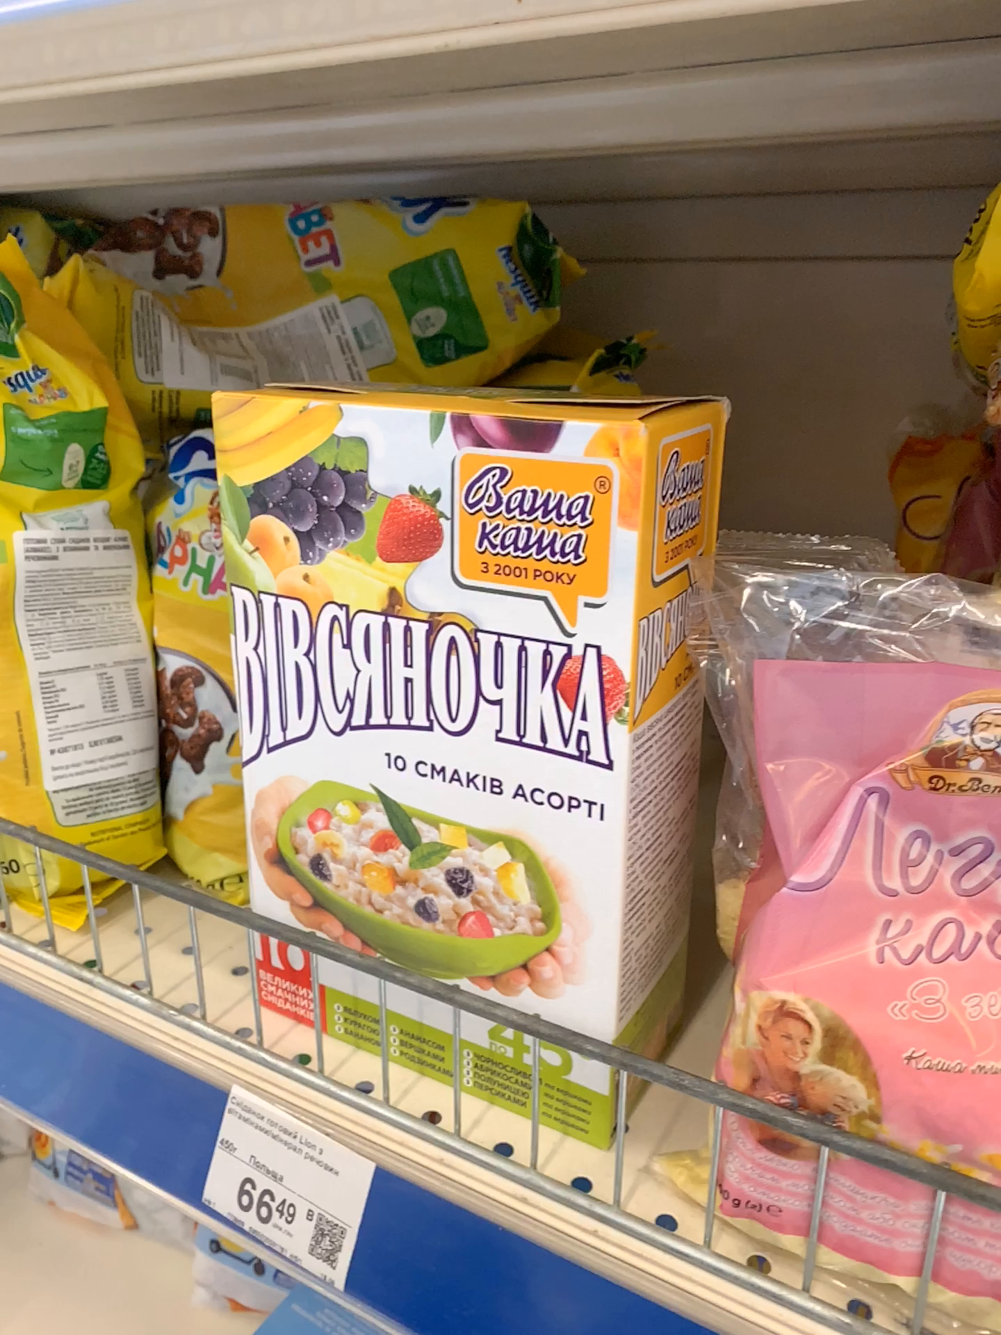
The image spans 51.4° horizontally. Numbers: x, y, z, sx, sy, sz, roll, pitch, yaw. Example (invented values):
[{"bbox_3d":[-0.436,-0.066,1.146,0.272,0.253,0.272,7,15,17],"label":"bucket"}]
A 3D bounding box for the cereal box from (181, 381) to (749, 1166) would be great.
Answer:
[{"bbox_3d":[-0.014,0.021,0.332,0.150,0.209,0.070,11,20,29],"label":"cereal box"}]
